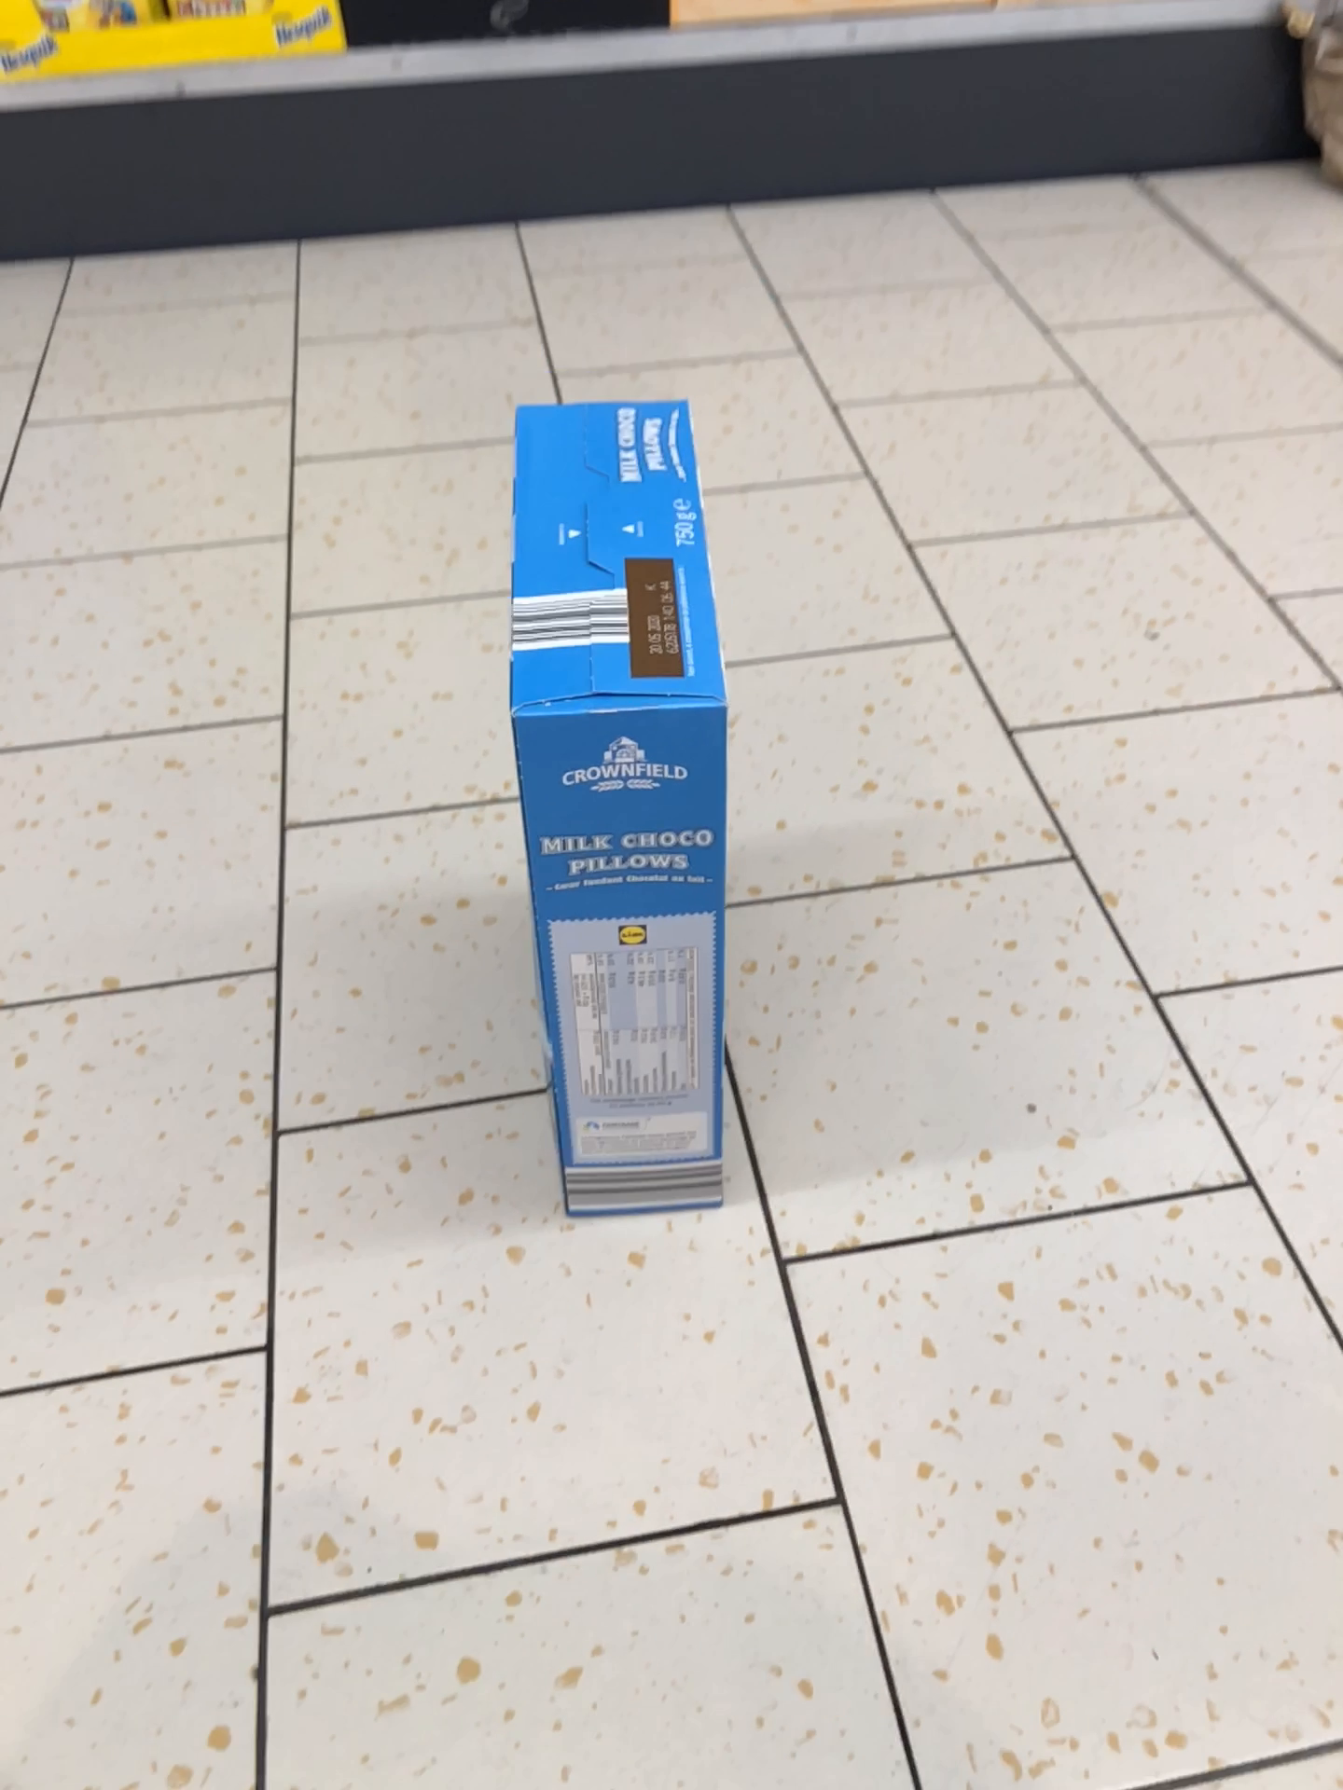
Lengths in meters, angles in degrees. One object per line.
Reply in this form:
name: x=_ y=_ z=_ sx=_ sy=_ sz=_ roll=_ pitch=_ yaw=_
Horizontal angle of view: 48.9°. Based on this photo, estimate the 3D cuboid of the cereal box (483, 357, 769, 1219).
cereal box: x=-0.013 y=-0.038 z=0.579 sx=0.080 sy=0.258 sz=0.211 roll=-3 pitch=44 yaw=-1
